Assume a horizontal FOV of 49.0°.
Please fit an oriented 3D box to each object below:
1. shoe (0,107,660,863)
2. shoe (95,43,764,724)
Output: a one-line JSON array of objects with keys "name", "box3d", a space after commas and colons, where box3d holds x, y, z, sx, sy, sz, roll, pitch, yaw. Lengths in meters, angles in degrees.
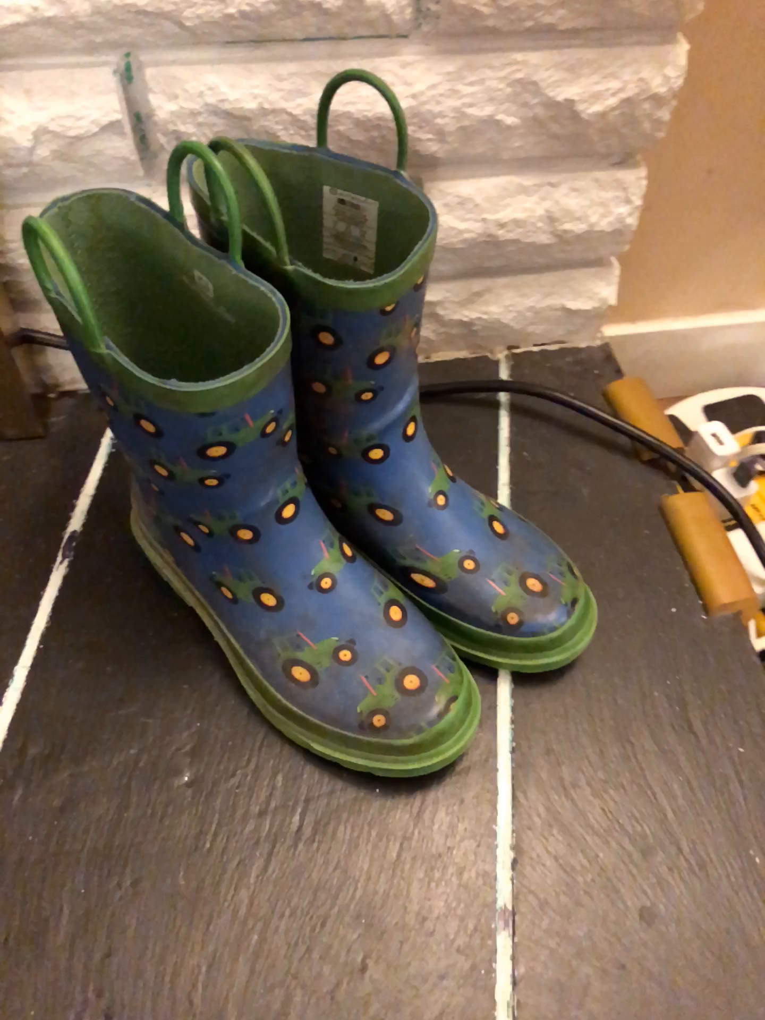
[{"name": "shoe", "box3d": [-0.038, 0.001, 0.371, 0.100, 0.239, 0.231, -37, 63, -26]}, {"name": "shoe", "box3d": [0.015, -0.048, 0.397, 0.240, 0.229, 0.100, 30, 58, 18]}]
